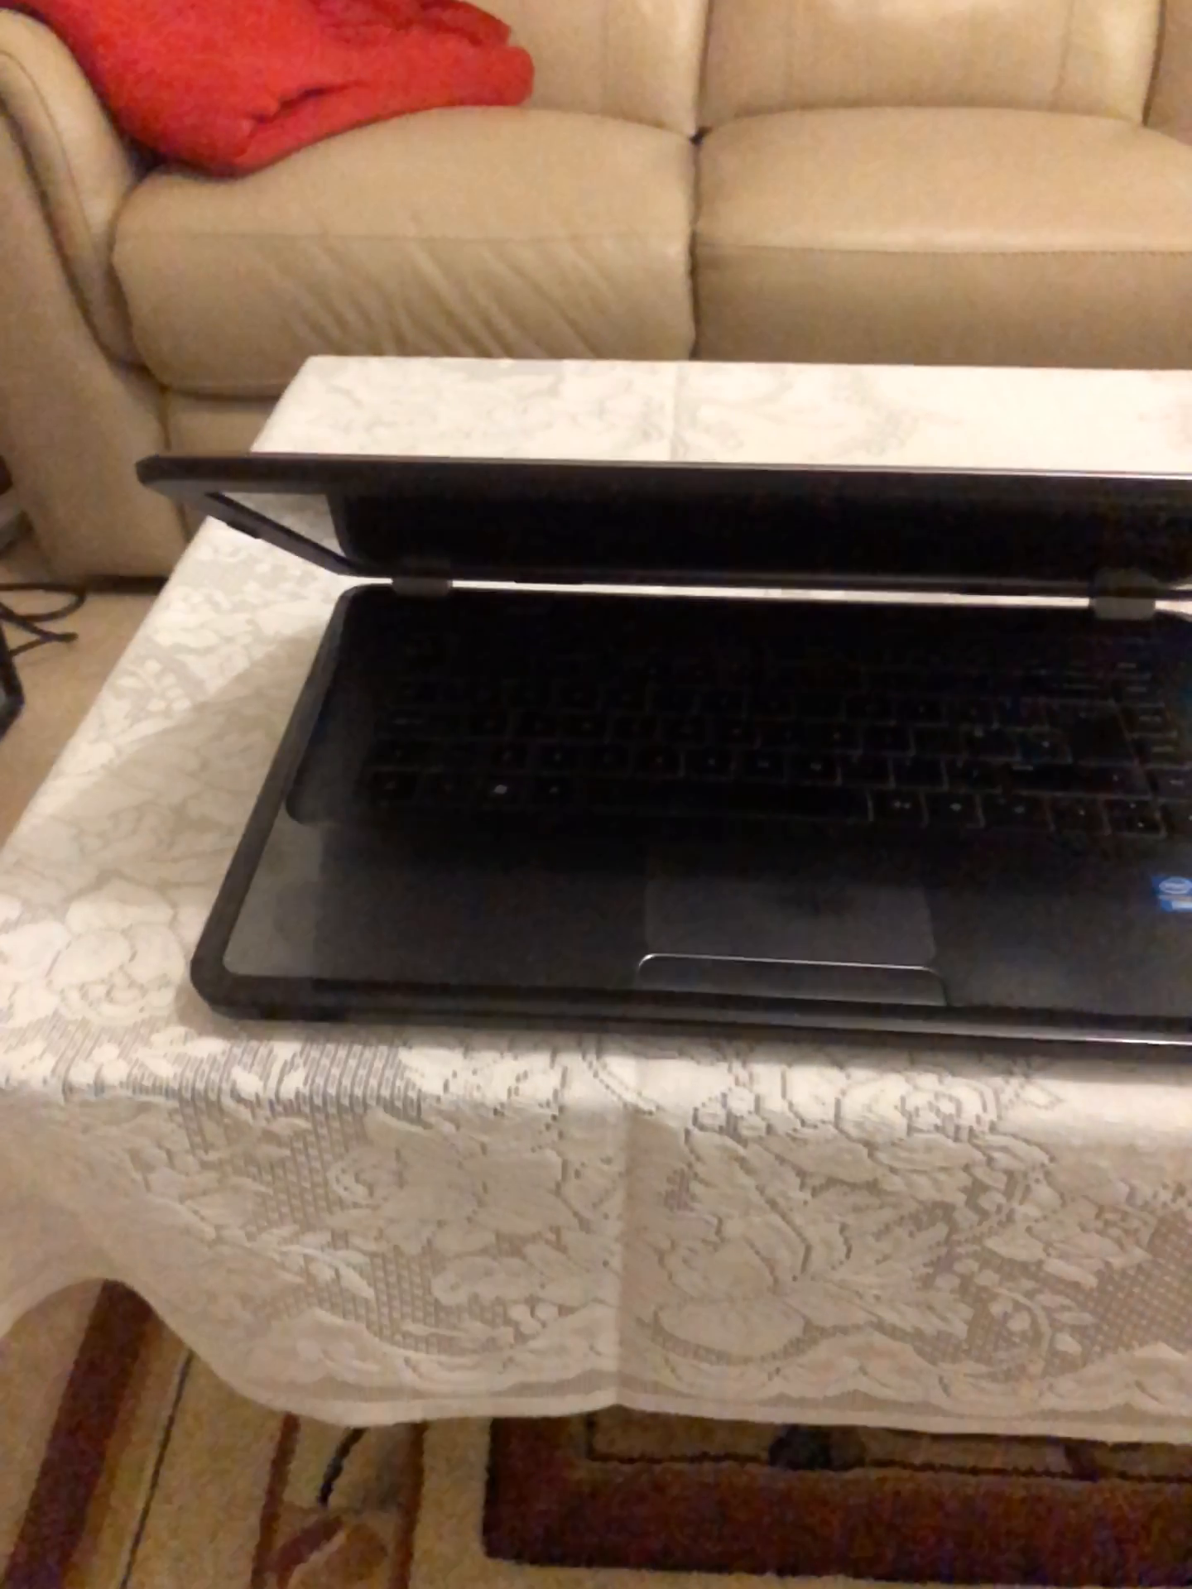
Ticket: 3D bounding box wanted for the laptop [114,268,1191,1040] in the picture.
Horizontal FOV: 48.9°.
[{"bbox_3d":[0.067,-0.066,0.444,0.360,0.139,0.239,2,39,4],"label":"laptop"}]
